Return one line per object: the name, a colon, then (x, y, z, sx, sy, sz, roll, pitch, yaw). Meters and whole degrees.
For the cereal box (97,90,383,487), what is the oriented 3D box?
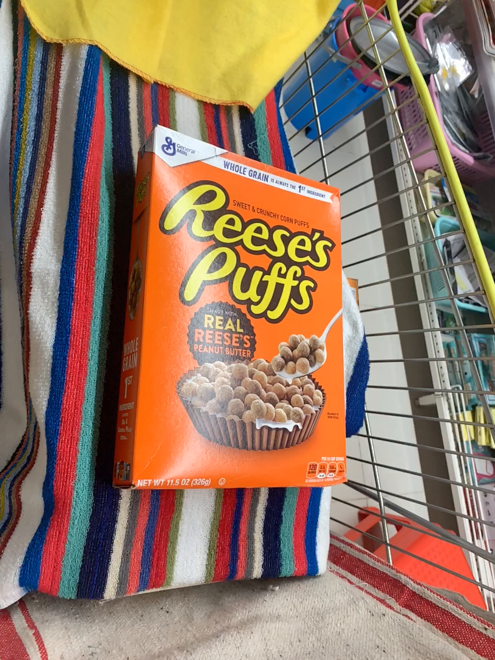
cereal box: (0.004, -0.016, 0.405, 0.201, 0.080, 0.260, 9, 77, -30)
